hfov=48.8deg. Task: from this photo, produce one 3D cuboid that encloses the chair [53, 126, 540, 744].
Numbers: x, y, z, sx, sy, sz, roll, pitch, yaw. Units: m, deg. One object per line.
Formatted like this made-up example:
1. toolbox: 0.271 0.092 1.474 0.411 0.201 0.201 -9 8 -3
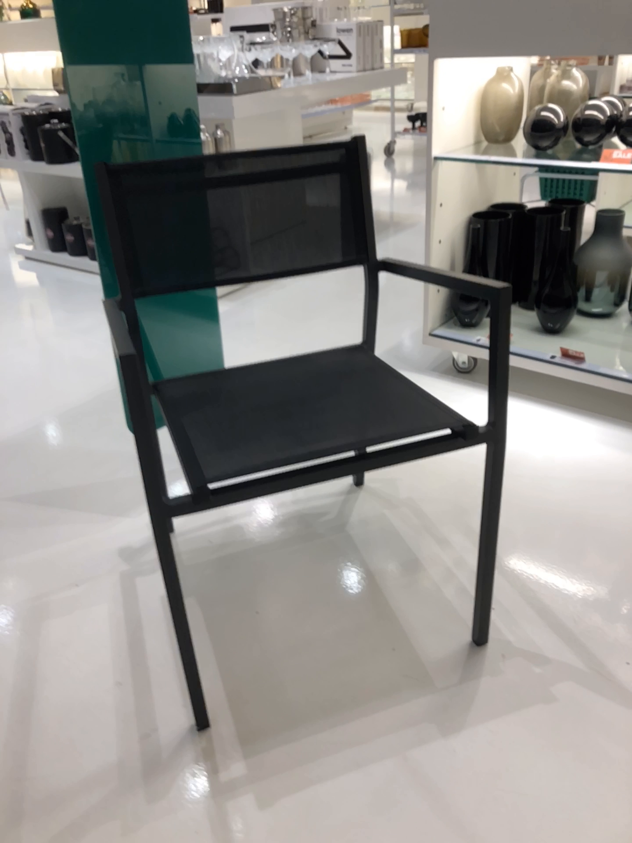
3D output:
1. chair: -0.069 -0.036 1.225 0.571 0.794 0.604 -12 30 -15
